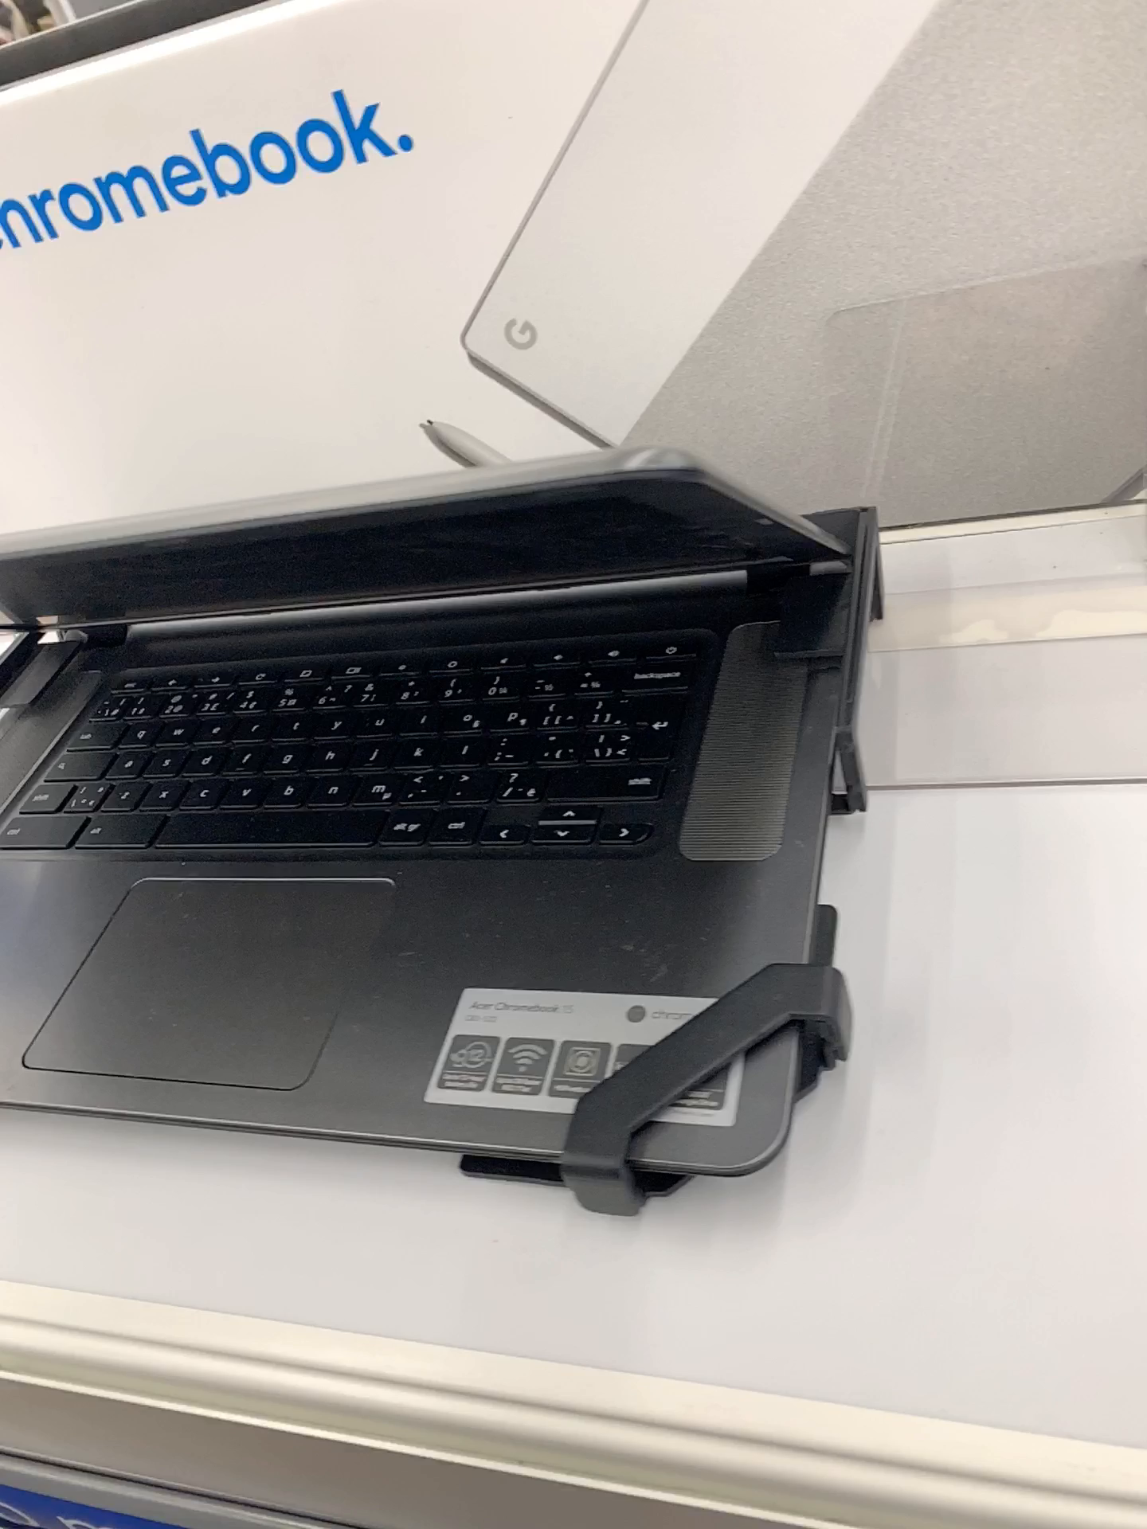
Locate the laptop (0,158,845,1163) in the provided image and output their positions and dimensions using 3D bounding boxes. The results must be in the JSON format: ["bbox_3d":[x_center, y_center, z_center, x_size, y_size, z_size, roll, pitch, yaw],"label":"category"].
[{"bbox_3d":[-0.095,-0.030,0.311,0.301,0.116,0.194,-2,44,22],"label":"laptop"}]
